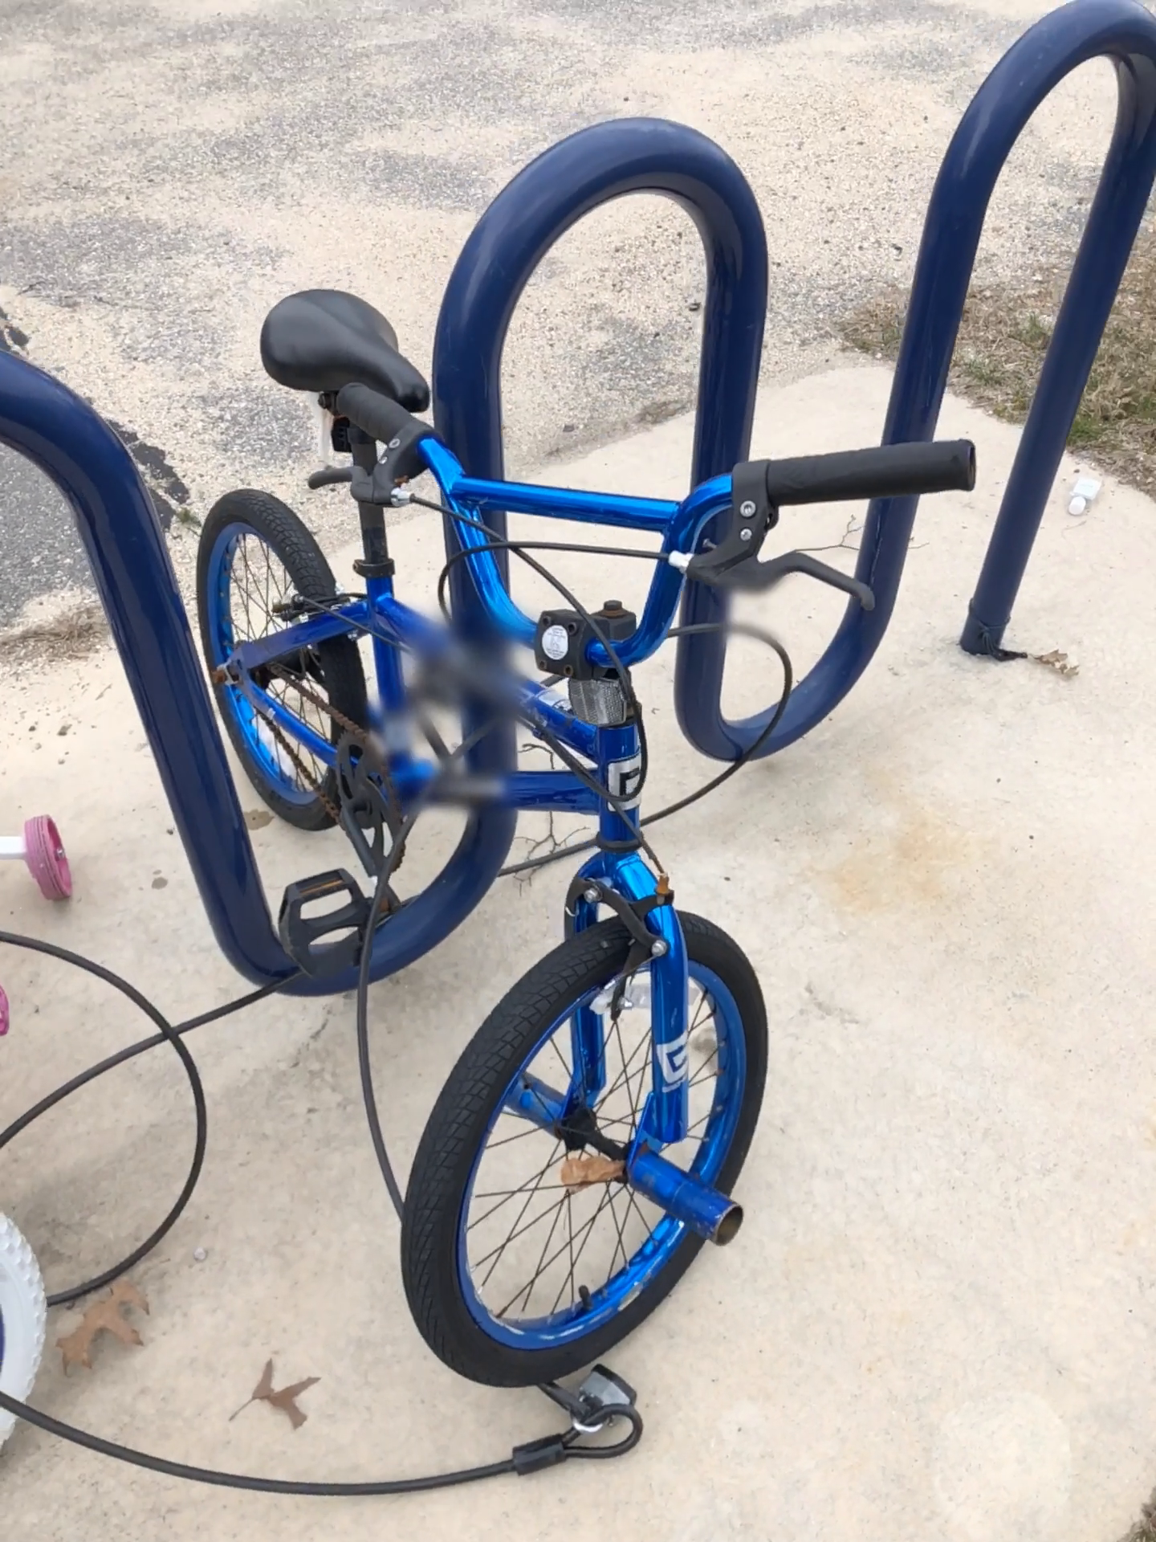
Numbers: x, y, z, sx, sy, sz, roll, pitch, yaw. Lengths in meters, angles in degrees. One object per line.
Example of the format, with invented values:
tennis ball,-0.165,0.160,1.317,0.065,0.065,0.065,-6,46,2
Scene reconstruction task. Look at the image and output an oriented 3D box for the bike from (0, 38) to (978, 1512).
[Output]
bike,-0.197,-0.110,1.288,0.622,0.840,1.034,-17,44,-16
